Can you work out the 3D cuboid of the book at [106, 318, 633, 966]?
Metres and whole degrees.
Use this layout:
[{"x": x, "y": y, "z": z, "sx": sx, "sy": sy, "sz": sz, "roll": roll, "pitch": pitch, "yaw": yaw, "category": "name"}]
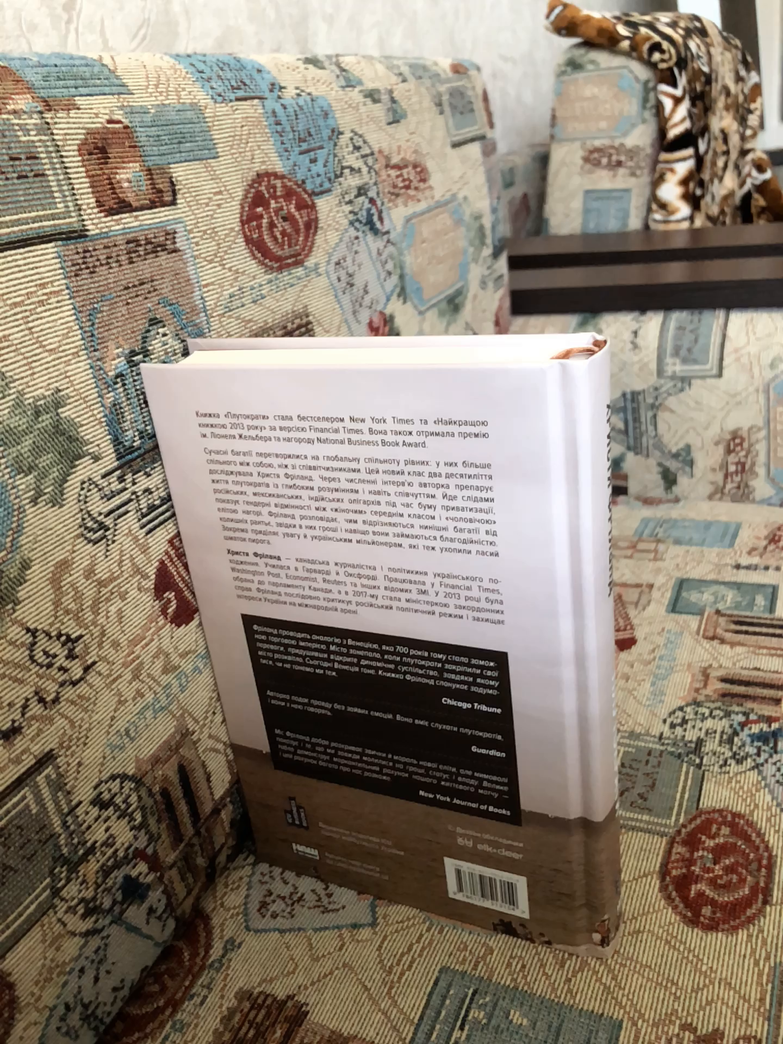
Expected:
[{"x": 0.000, "y": 0.043, "z": 0.305, "sx": 0.157, "sy": 0.215, "sz": 0.037, "roll": 4, "pitch": 26, "yaw": 25, "category": "book"}]
